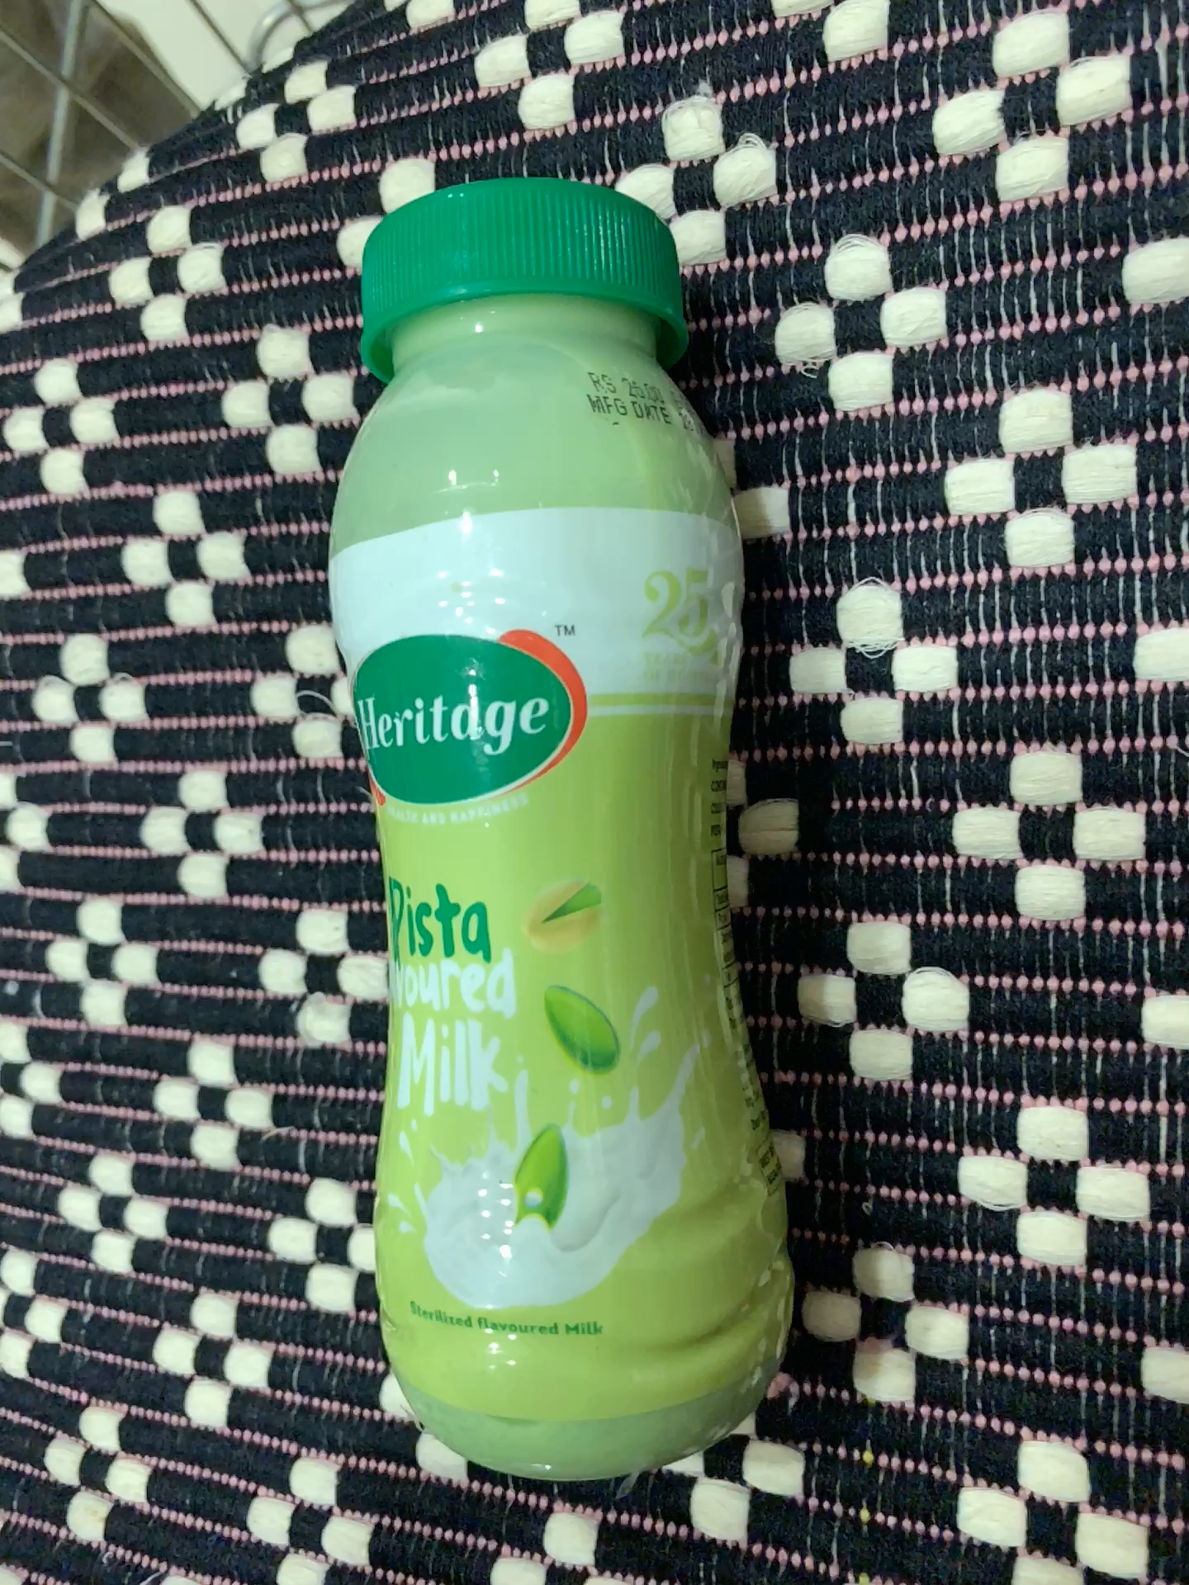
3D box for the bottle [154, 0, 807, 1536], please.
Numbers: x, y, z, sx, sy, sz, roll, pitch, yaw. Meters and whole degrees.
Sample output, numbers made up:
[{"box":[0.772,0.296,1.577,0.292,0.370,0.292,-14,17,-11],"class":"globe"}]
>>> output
[{"box":[-0.011,-0.009,0.143,0.050,0.050,0.150,-4,87,23],"class":"bottle"}]
